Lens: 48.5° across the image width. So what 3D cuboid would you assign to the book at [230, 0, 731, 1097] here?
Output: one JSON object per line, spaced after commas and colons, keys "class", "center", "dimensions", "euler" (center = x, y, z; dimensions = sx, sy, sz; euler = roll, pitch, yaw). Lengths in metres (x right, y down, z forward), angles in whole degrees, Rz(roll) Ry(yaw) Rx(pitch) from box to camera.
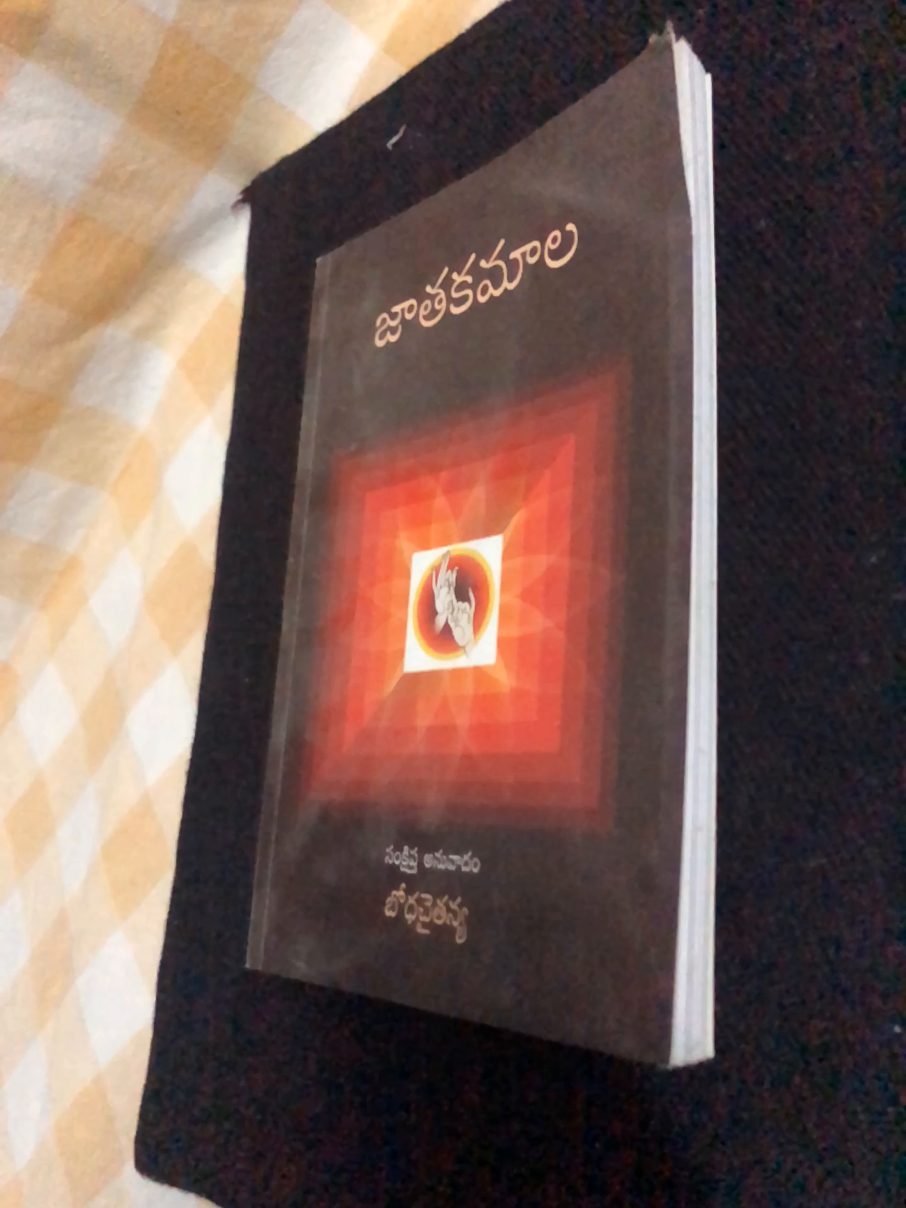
{"class": "book", "center": [-0.002, -0.016, 0.236], "dimensions": [0.140, 0.020, 0.210], "euler": [-12, 71, 50]}
